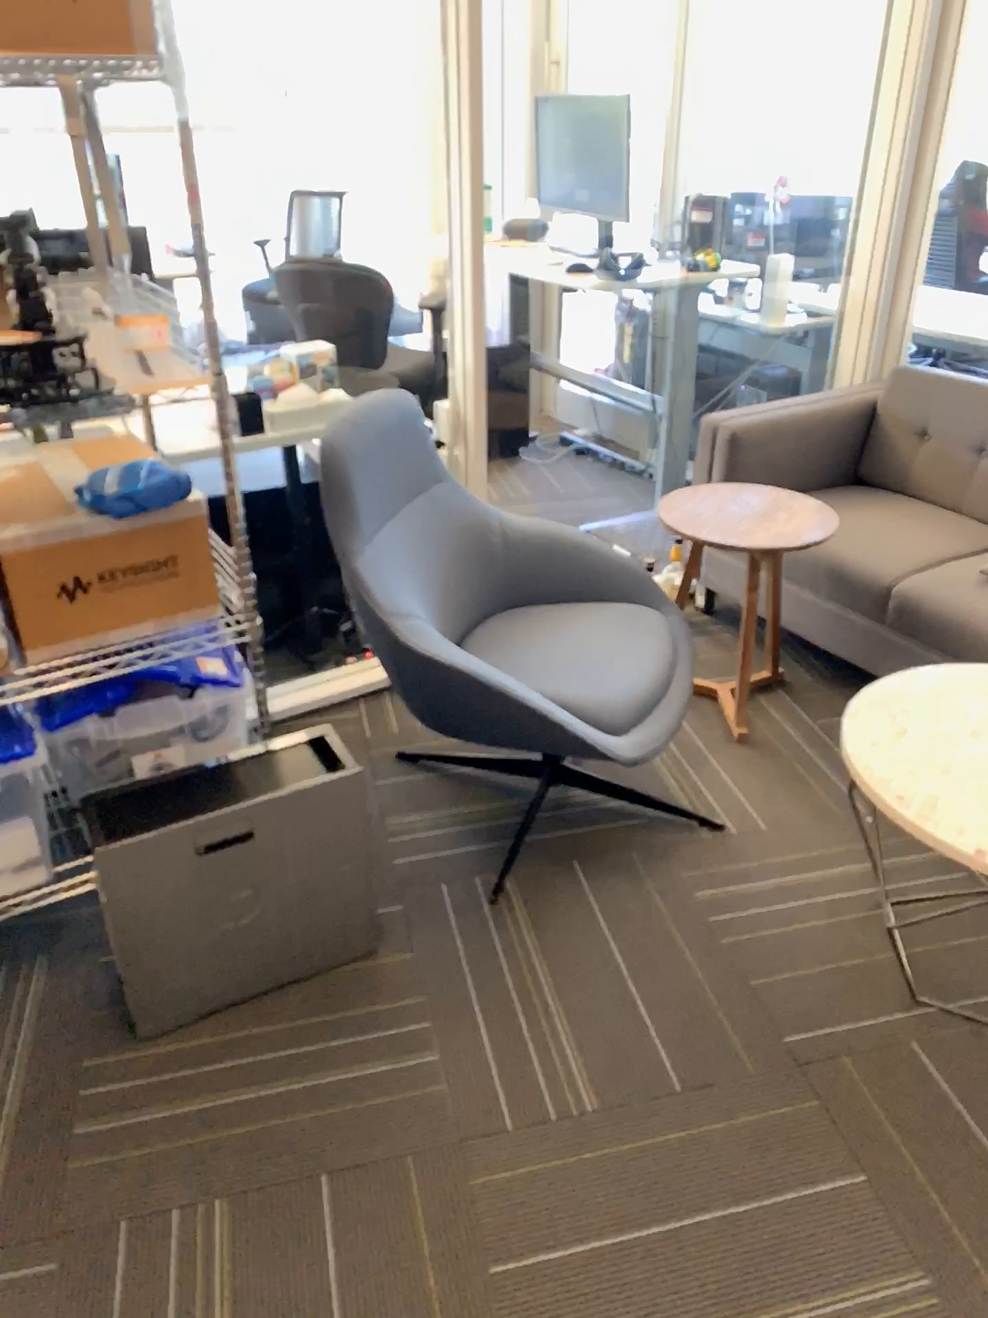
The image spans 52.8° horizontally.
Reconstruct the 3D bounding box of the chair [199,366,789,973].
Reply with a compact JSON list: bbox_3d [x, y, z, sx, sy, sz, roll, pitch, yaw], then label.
[{"bbox_3d":[0.055,-0.059,2.315,1.001,0.964,0.844,11,31,19],"label":"chair"}]
